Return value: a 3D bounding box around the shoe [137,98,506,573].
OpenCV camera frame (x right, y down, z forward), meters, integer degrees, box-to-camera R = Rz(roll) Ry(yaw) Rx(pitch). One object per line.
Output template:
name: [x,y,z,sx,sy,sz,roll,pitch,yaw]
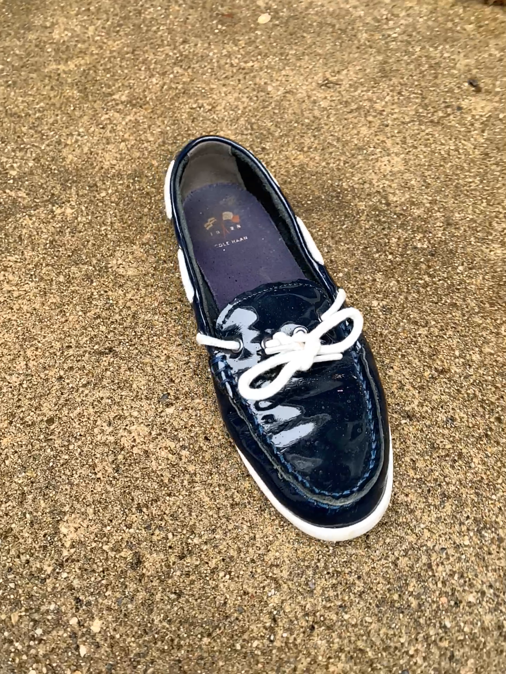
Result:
shoe: [0.016,-0.016,0.297,0.101,0.083,0.246,-16,60,-9]
